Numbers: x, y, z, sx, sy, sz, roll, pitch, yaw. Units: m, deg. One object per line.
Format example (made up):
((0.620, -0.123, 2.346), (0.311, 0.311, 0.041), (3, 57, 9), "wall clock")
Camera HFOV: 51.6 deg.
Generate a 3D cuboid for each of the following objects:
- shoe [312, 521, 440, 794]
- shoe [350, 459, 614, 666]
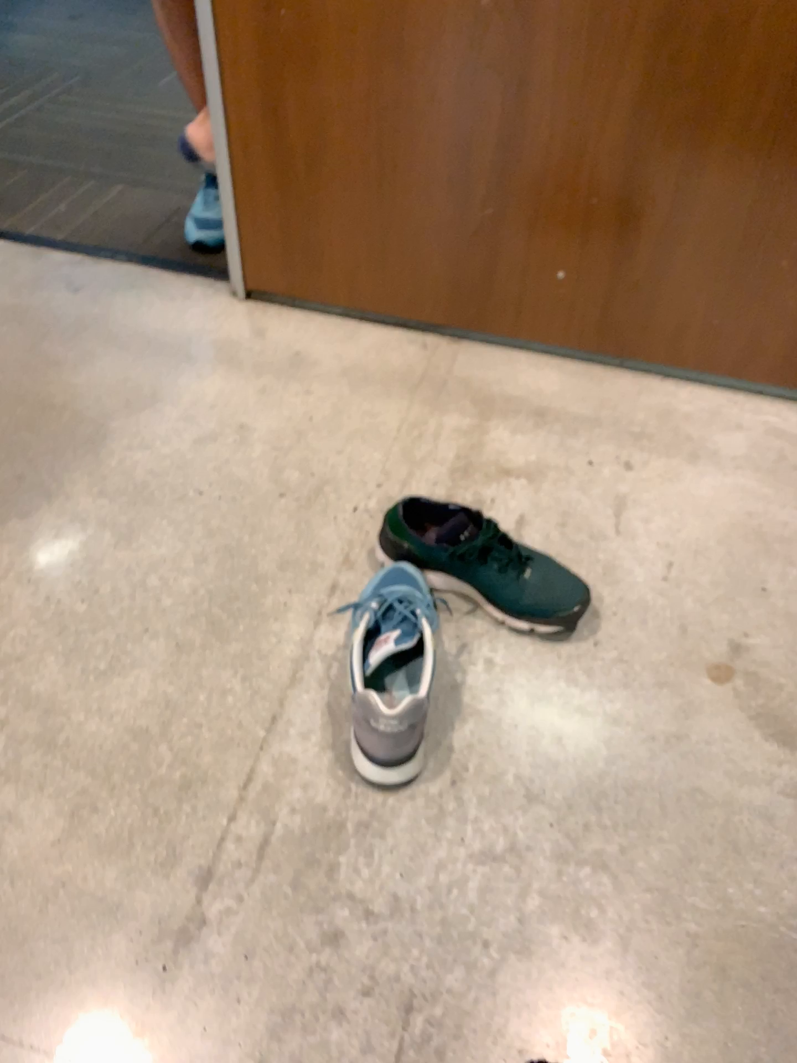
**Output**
((-0.020, 0.136, 0.979), (0.130, 0.090, 0.322), (2, 46, 0), "shoe")
((0.106, 0.034, 1.120), (0.321, 0.090, 0.140), (25, 51, 20), "shoe")
